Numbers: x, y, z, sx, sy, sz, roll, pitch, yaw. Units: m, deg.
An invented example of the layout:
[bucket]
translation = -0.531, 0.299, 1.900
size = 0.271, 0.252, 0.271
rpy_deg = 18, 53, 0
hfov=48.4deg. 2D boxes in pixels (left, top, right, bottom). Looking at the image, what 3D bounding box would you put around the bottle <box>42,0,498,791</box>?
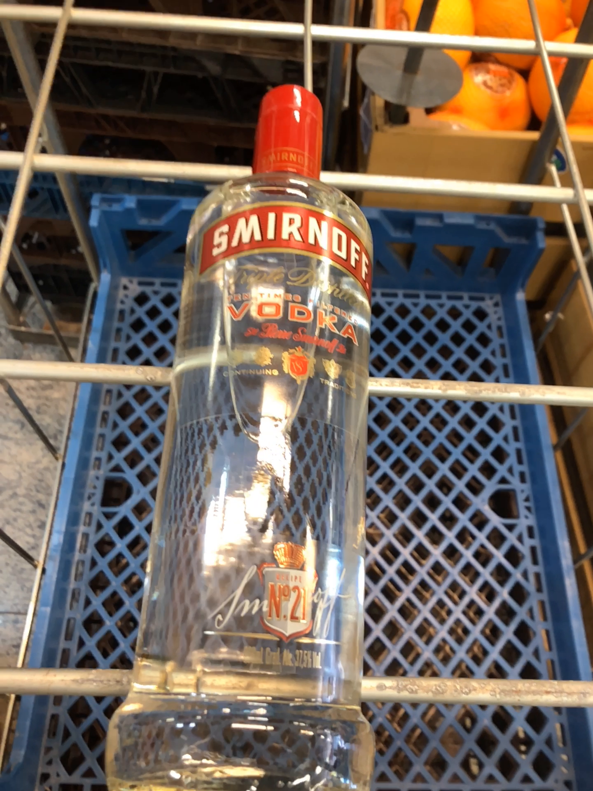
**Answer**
[bottle]
translation = -0.004, -0.010, 0.261
size = 0.100, 0.100, 0.311
rpy_deg = 3, 63, -3
